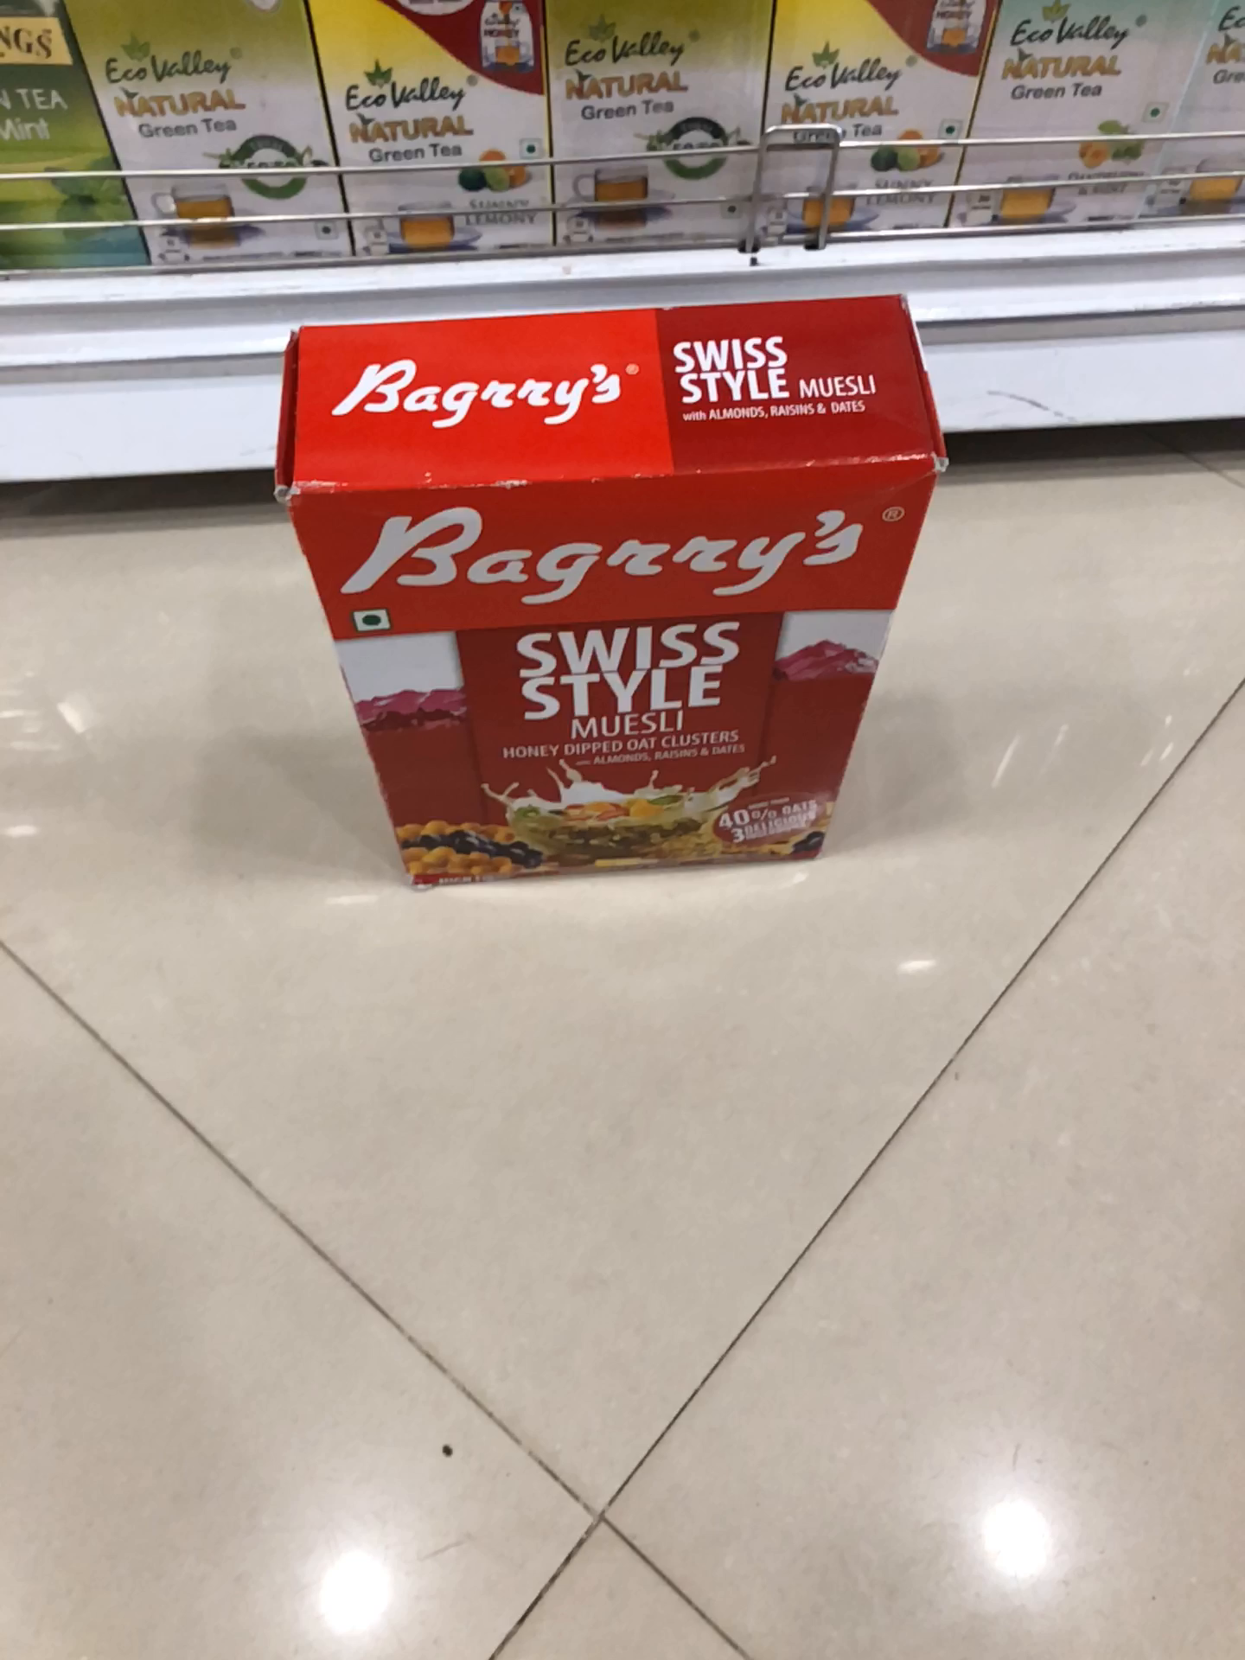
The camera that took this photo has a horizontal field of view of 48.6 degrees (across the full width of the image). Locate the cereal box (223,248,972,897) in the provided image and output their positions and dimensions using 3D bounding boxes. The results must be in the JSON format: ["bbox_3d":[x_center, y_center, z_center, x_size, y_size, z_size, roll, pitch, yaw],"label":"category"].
[{"bbox_3d":[-0.008,-0.072,0.496,0.200,0.249,0.080,-4,62,-2],"label":"cereal box"}]
